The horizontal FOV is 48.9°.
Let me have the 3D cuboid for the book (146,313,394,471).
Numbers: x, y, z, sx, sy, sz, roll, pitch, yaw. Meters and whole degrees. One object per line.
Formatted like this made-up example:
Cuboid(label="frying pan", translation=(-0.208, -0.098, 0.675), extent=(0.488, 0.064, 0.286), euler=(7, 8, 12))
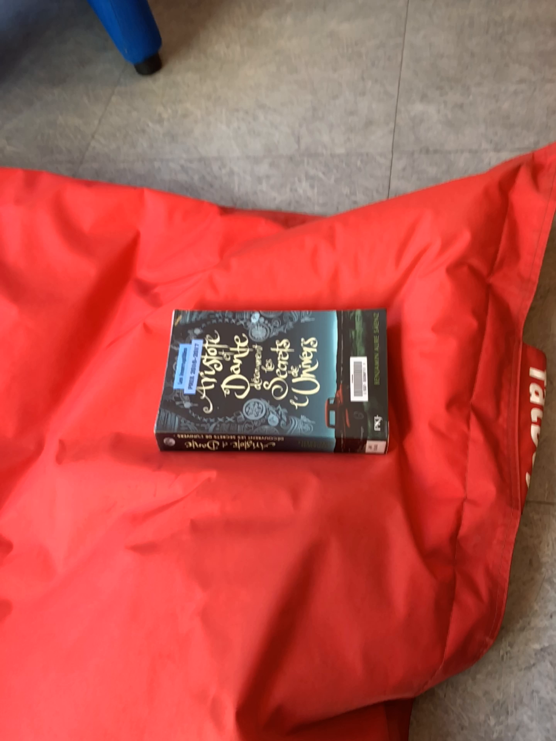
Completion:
Cuboid(label="book", translation=(-0.004, 0.019, 0.613), extent=(0.228, 0.048, 0.149), euler=(1, 65, 5))
